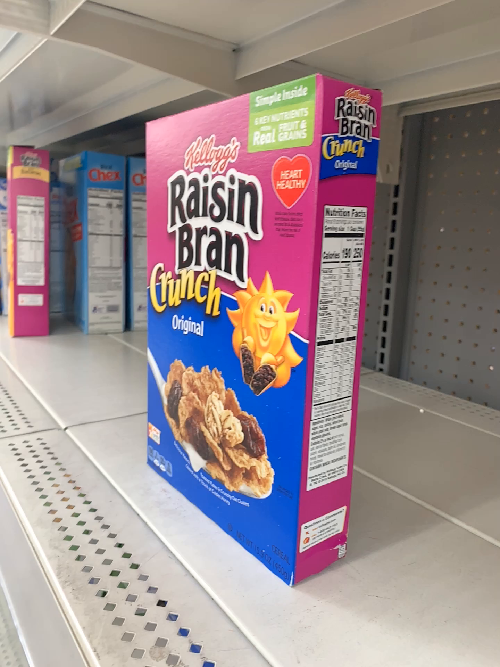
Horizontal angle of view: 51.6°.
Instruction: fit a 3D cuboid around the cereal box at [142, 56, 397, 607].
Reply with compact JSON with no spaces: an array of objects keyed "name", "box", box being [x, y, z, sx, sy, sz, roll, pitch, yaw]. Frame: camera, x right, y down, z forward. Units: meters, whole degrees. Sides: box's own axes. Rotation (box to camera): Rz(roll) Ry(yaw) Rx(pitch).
[{"name":"cereal box","box":[-0.009,-0.008,0.352,0.050,0.279,0.200,-5,13,-35]}]
